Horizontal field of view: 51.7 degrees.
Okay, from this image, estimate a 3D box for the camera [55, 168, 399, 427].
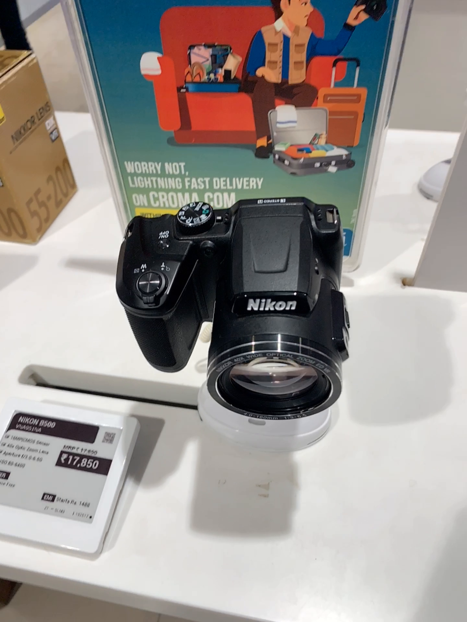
[{"bbox_3d":[0.000,-0.006,0.227,0.120,0.080,0.090,0,47,3],"label":"camera"}]
